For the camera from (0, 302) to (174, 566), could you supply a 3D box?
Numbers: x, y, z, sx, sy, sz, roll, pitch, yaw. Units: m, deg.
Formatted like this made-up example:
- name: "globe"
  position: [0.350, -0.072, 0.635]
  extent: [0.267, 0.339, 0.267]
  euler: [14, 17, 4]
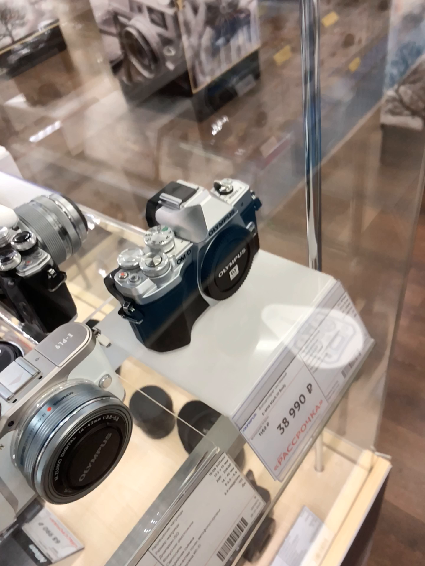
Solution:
- name: "camera"
  position: [-0.094, 0.086, 0.255]
  extent: [0.068, 0.068, 0.125]
  euler: [25, 56, 32]

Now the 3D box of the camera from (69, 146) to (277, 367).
- name: "camera"
  position: [-0.018, -0.023, 0.324]
  extent: [0.064, 0.077, 0.122]
  euler: [24, 56, 31]

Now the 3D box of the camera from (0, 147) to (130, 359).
- name: "camera"
  position: [-0.158, -0.030, 0.367]
  extent: [0.137, 0.084, 0.102]
  euler: [21, 54, 29]
